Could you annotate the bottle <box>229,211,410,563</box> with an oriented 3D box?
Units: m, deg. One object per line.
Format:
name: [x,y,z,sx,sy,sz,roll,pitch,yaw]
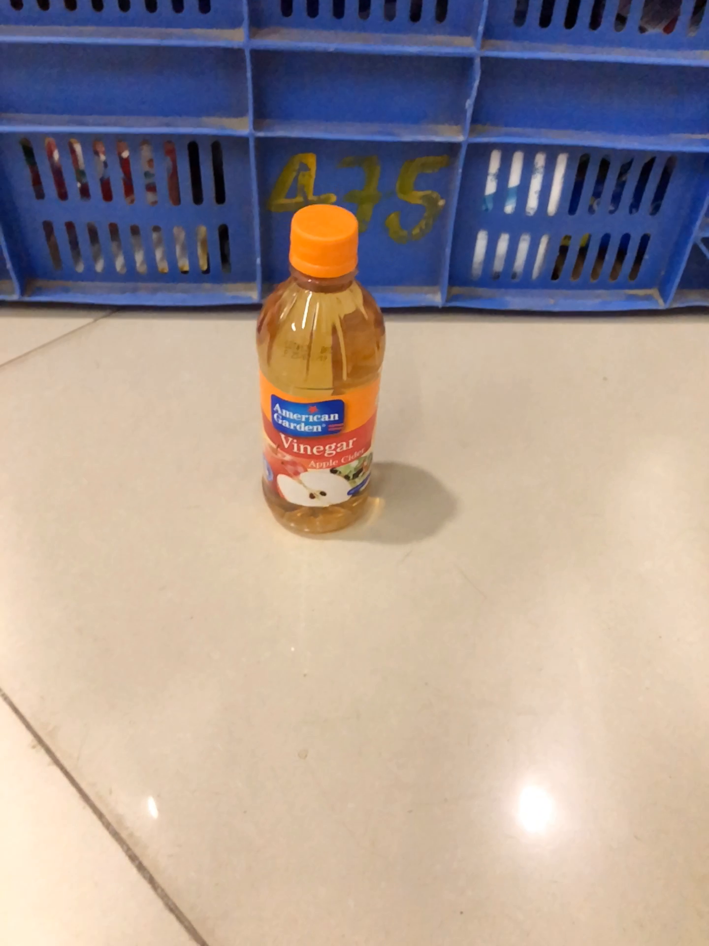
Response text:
bottle: [-0.016,-0.037,0.409,0.070,0.169,0.071,2,46,-2]
